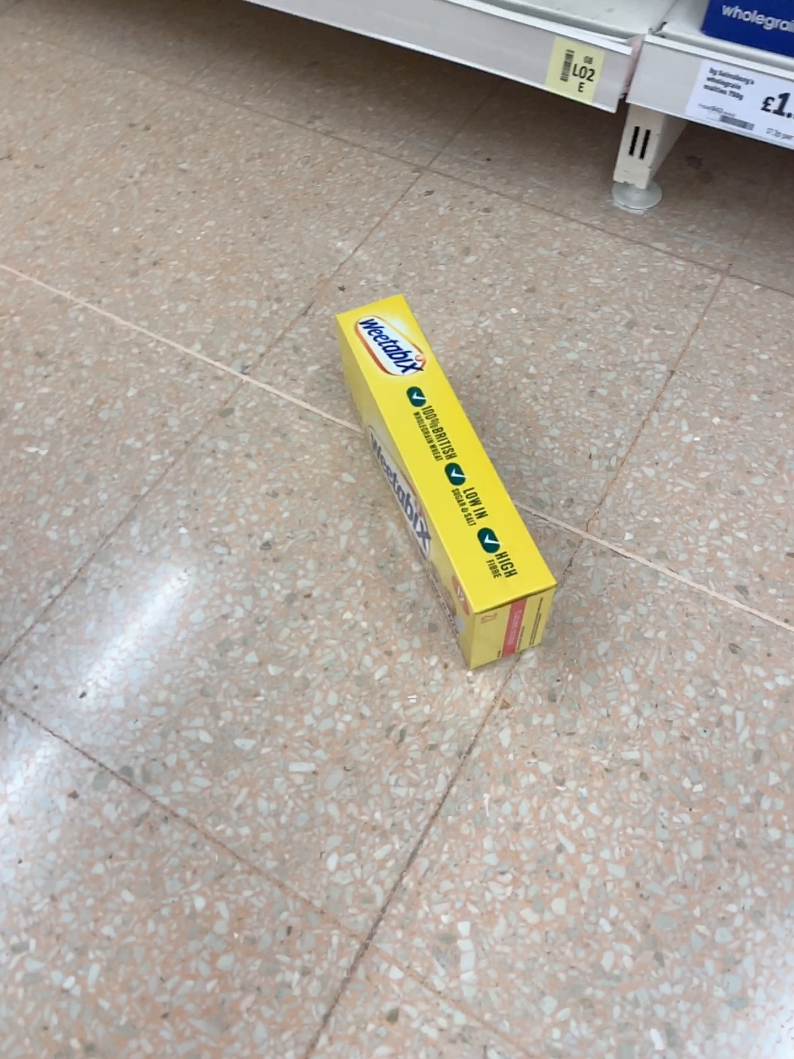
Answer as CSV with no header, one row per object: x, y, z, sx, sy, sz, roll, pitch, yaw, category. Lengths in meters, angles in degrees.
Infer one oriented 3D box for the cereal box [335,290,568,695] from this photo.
0.027,-0.031,0.544,0.050,0.099,0.261,-19,60,-8,cereal box
